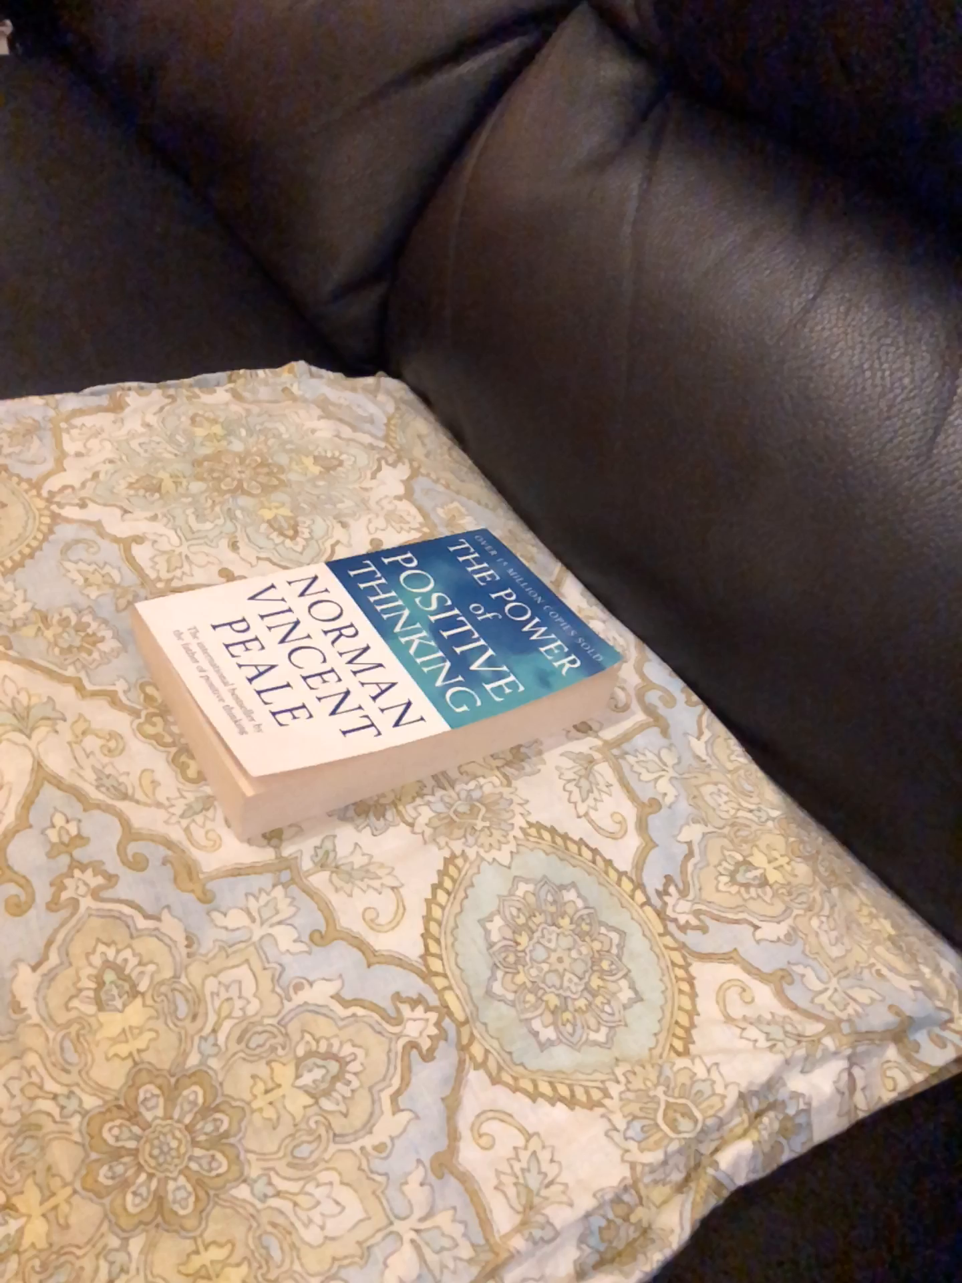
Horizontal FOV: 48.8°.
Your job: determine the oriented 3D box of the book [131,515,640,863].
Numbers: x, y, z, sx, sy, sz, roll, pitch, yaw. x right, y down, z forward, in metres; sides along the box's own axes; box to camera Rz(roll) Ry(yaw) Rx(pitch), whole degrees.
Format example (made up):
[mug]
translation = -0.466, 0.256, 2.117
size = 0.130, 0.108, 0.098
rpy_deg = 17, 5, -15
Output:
[book]
translation = -0.040, 0.009, 0.463
size = 0.183, 0.030, 0.120
rpy_deg = -18, 50, -32
